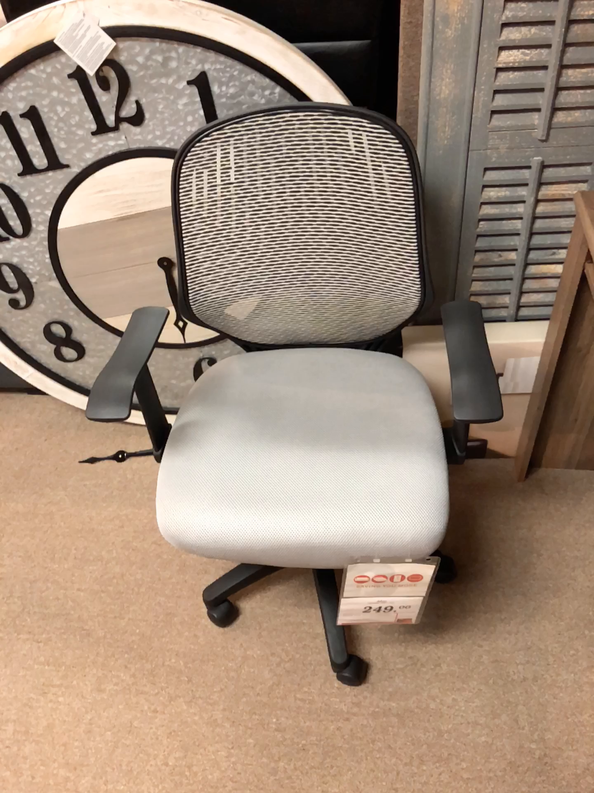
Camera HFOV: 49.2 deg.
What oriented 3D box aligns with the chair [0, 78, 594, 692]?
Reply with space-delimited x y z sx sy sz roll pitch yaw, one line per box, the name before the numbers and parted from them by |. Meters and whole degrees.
chair | 0.027 0.015 1.177 0.610 0.864 0.675 -2 44 4
